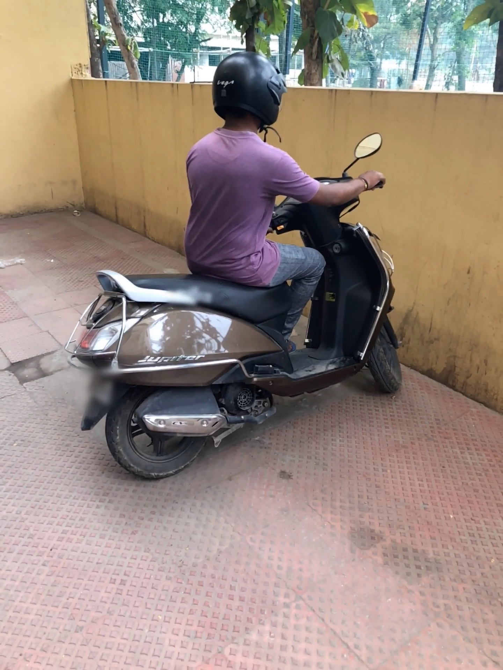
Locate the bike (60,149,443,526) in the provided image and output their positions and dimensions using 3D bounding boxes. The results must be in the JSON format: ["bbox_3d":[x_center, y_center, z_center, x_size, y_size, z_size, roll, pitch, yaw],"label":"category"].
[{"bbox_3d":[0.091,-0.169,2.598,1.717,1.182,0.646,-20,32,-38],"label":"bike"}]
